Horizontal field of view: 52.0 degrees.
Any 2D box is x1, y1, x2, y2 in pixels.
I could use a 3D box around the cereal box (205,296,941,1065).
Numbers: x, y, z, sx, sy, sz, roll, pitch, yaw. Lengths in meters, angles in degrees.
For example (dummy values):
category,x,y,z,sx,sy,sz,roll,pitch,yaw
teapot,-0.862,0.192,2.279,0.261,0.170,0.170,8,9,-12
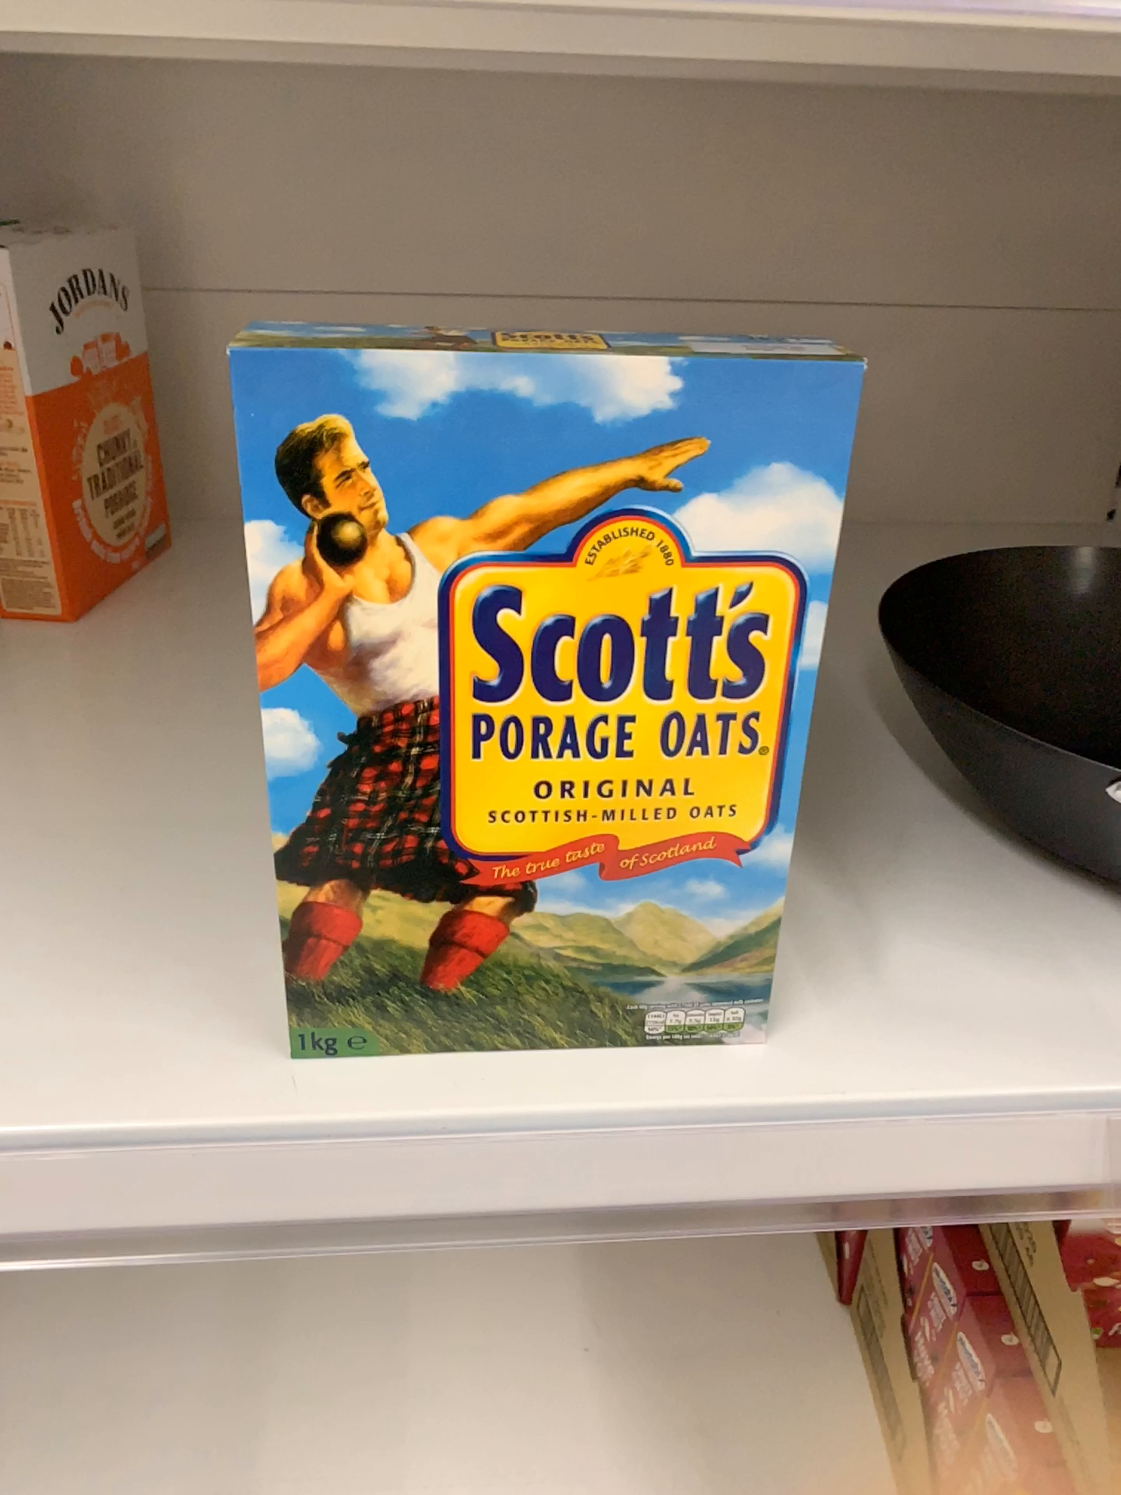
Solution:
category,x,y,z,sx,sy,sz,roll,pitch,yaw
cereal box,-0.001,-0.015,0.419,0.210,0.268,0.071,0,28,-5
